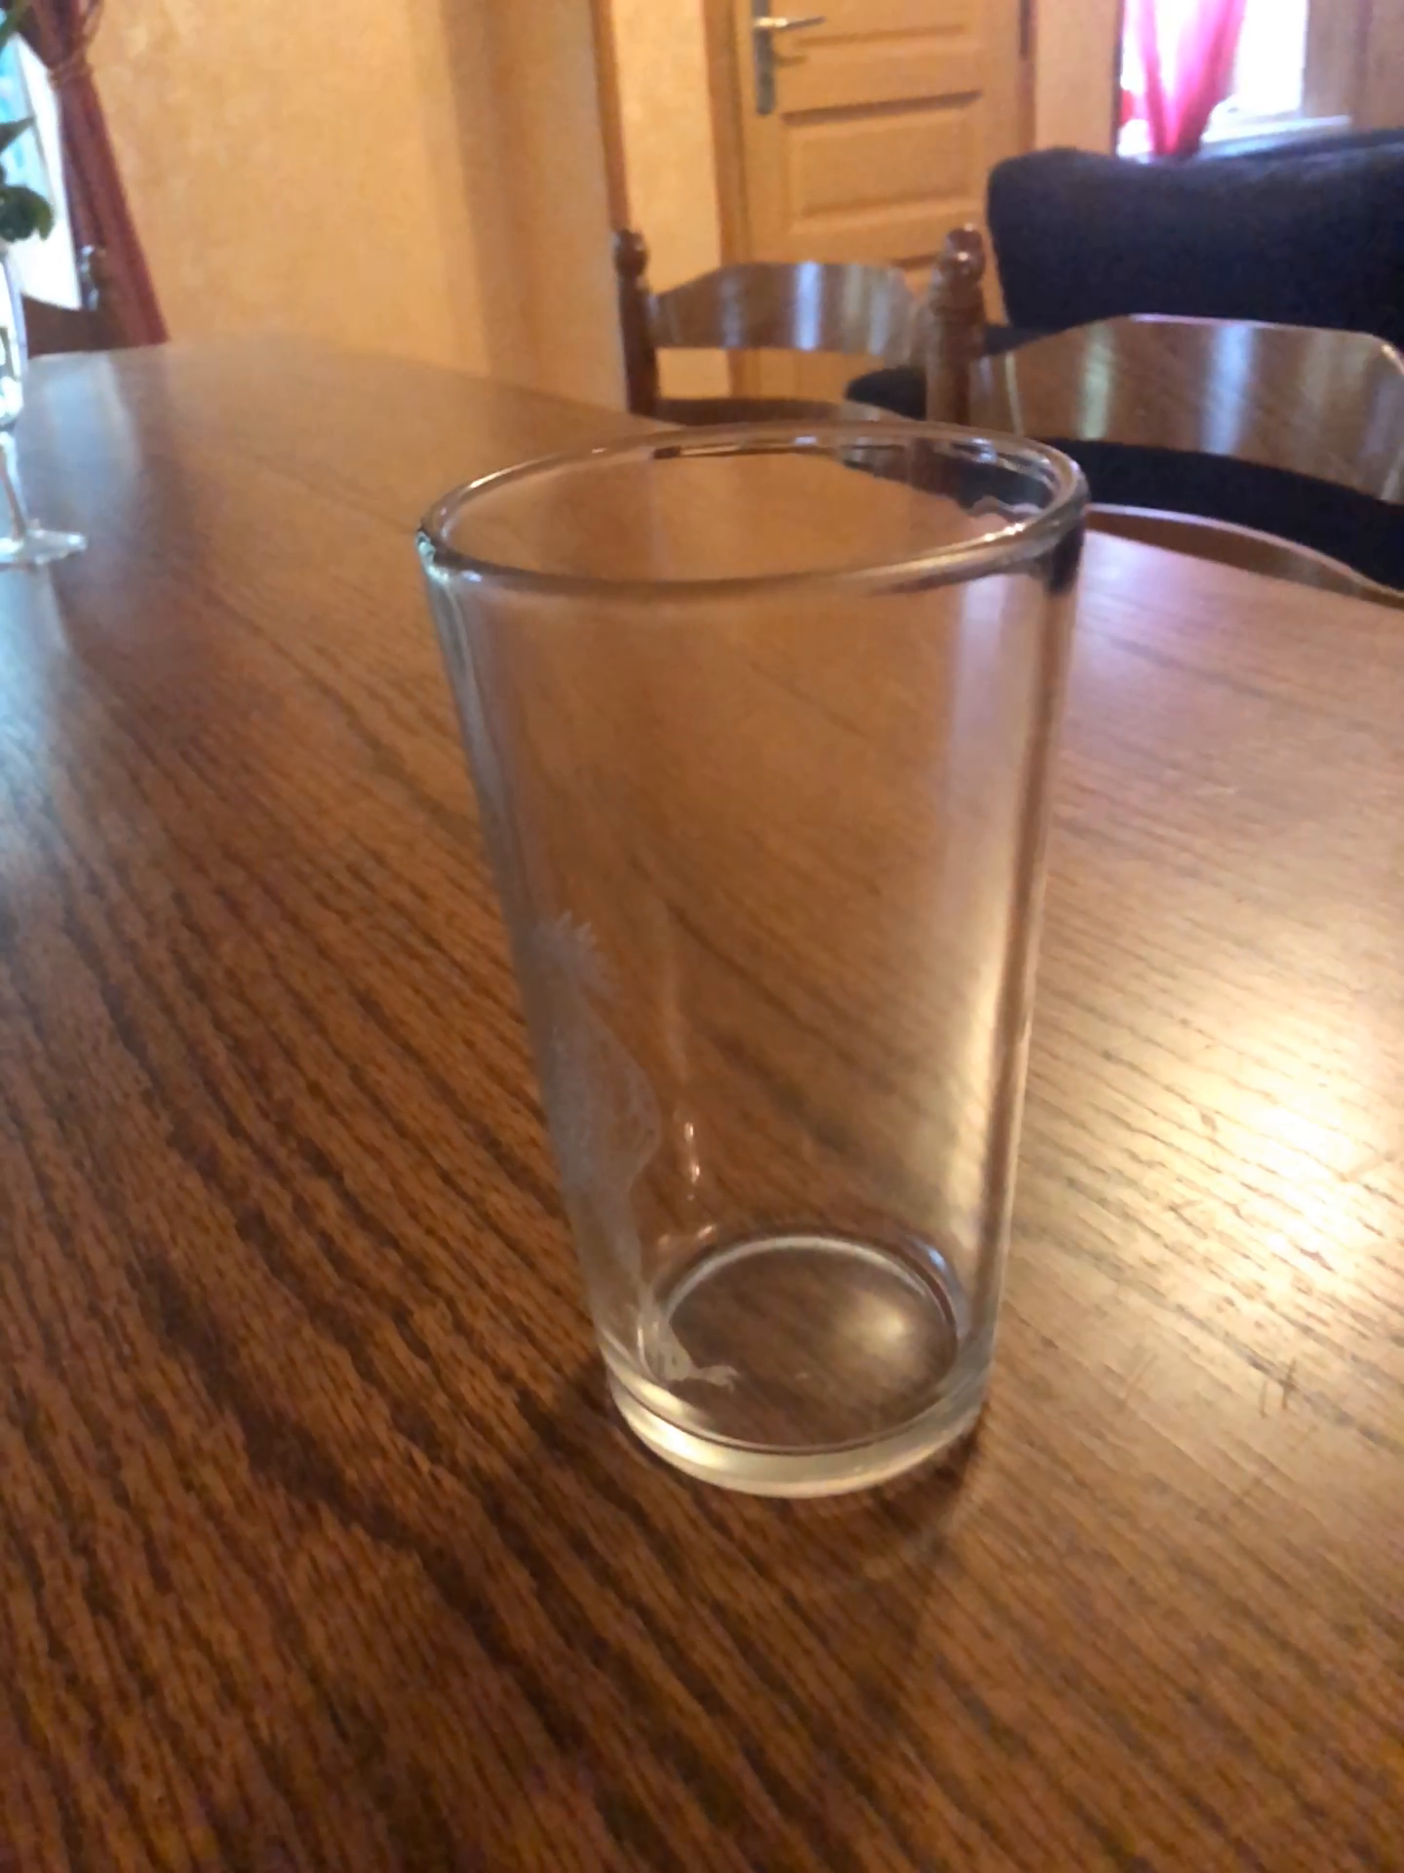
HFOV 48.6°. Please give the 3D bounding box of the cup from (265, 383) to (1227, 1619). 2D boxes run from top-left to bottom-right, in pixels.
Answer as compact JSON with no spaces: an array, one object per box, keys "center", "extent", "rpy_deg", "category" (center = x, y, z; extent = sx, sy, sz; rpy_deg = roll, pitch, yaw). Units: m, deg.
[{"center":[0.009,0.001,0.239],"extent":[0.090,0.144,0.091],"rpy_deg":[-4,28,2],"category":"cup"}]
